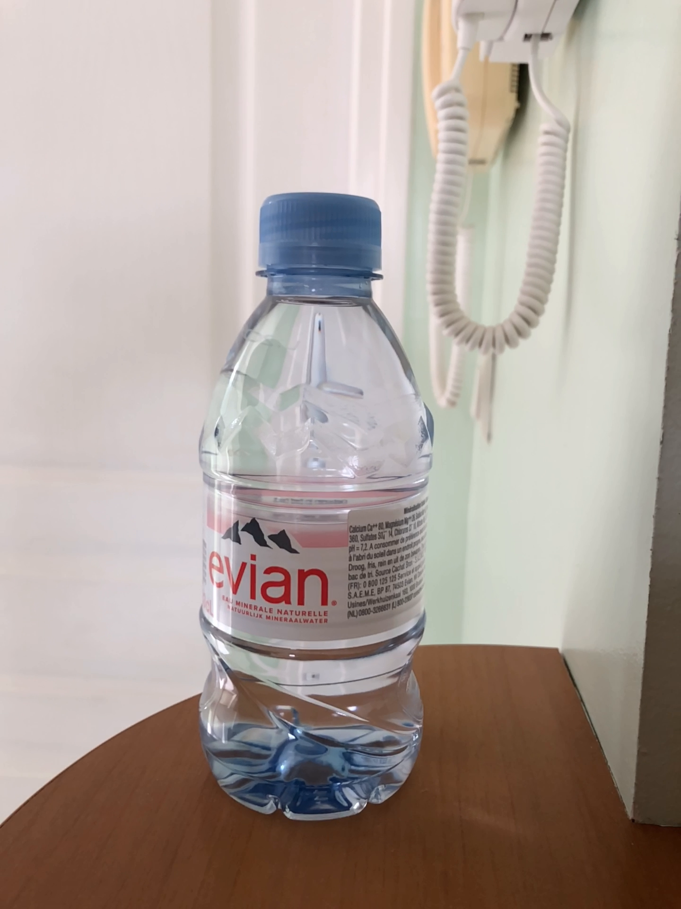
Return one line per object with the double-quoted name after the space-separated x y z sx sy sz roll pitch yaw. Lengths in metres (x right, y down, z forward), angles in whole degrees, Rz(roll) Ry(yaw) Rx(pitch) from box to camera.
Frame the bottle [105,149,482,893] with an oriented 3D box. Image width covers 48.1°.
-0.010 0.012 0.206 0.070 0.160 0.070 1 8 0 "bottle"
